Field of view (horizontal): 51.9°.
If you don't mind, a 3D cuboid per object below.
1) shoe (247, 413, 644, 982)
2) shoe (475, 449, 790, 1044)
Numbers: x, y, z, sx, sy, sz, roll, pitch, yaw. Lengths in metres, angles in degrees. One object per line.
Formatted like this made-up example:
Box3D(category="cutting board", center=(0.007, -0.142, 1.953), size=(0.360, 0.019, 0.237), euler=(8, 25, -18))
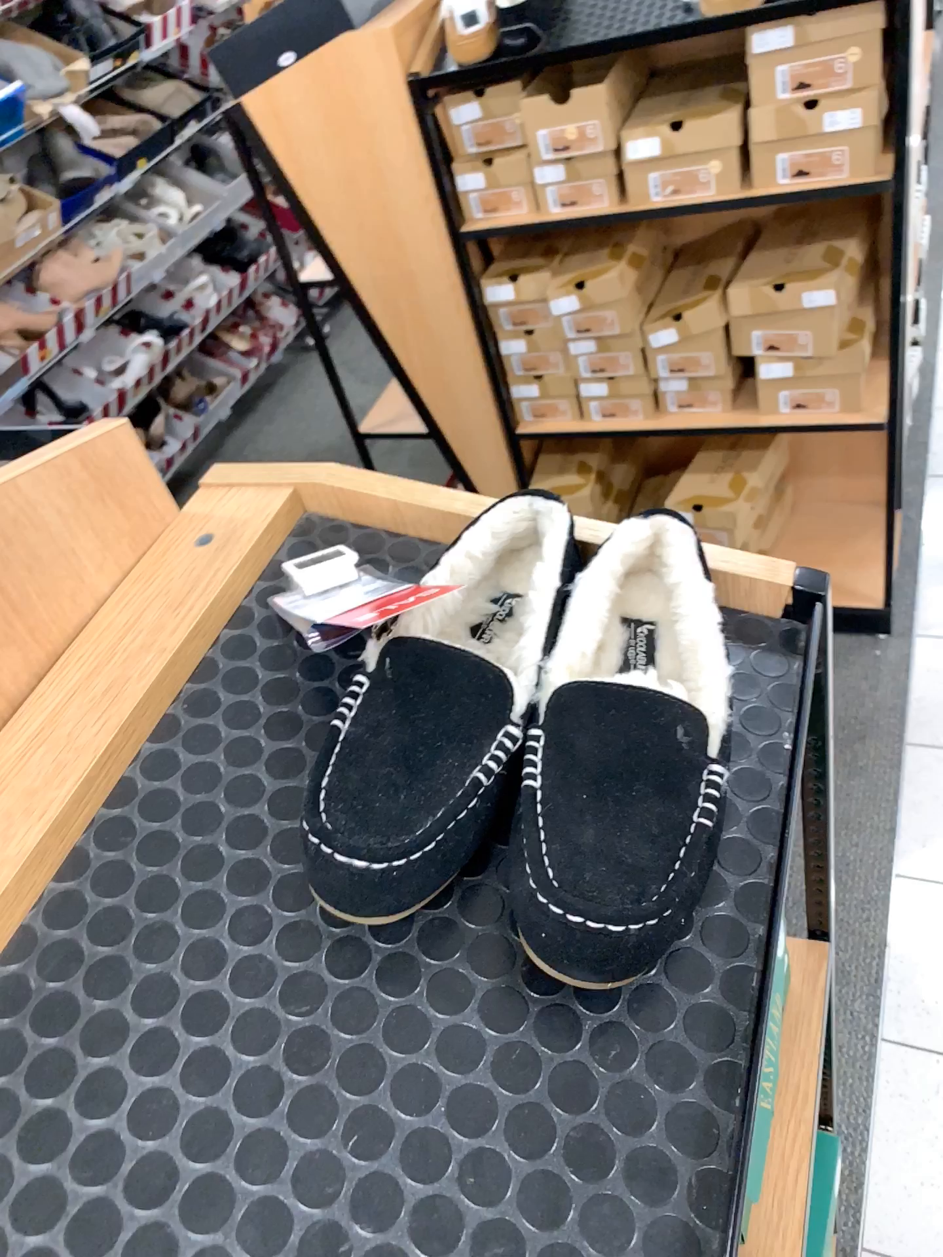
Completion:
Box3D(category="shoe", center=(-0.001, 0.018, 0.456), size=(0.086, 0.090, 0.251), euler=(19, 51, 10))
Box3D(category="shoe", center=(0.081, 0.038, 0.443), size=(0.086, 0.090, 0.251), euler=(15, 49, 7))
